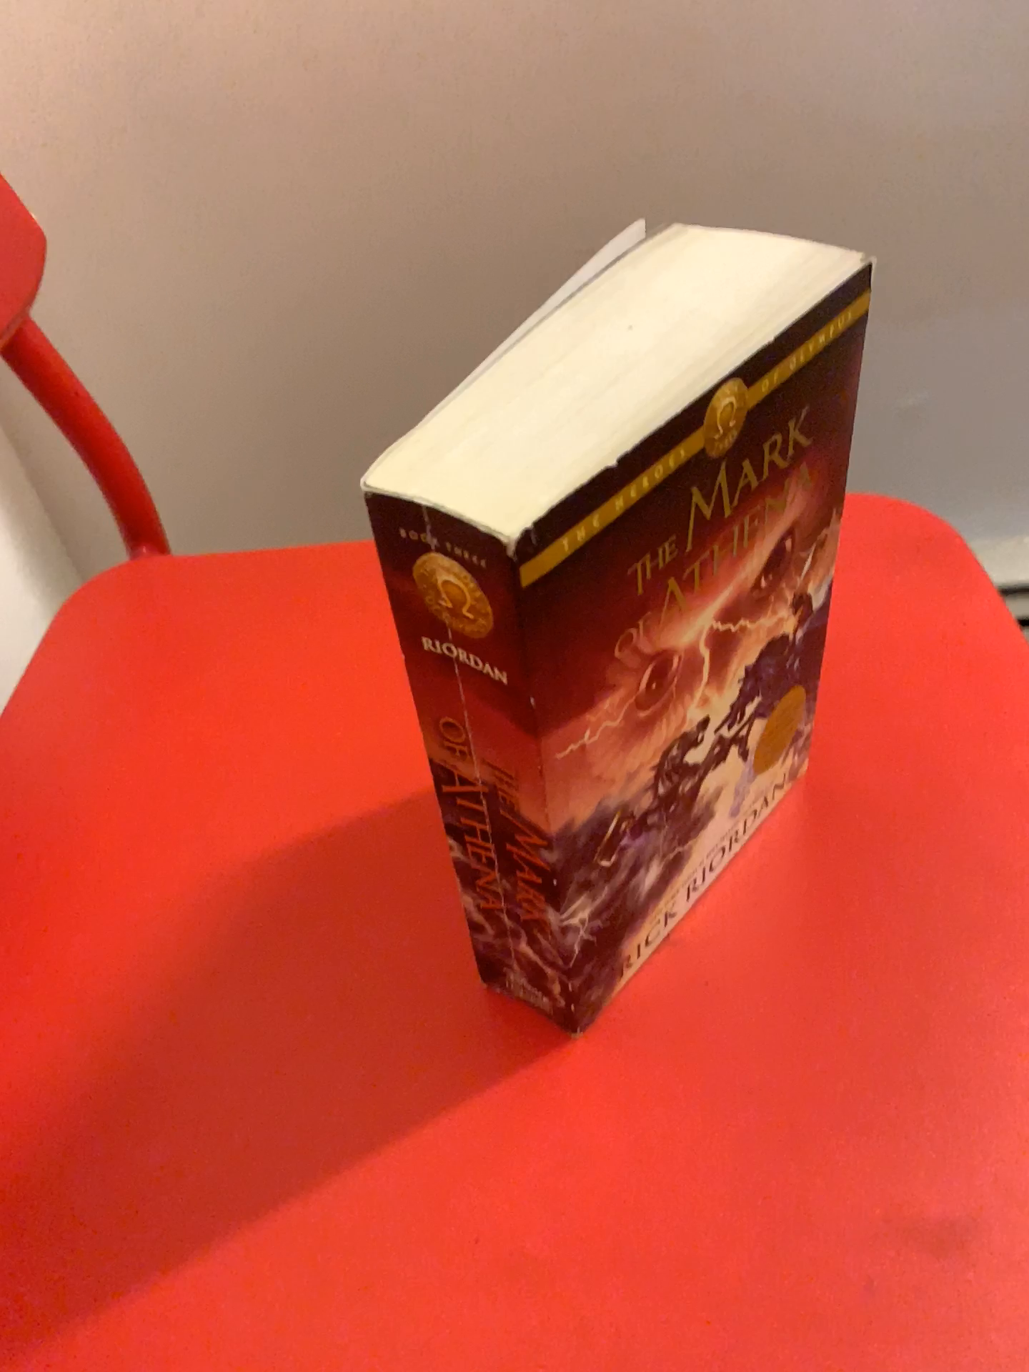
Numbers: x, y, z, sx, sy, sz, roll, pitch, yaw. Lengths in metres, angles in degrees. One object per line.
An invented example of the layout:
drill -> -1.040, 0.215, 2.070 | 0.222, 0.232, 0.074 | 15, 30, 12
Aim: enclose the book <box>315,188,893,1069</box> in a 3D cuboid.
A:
book -> 0.034, -0.010, 0.297 | 0.061, 0.193, 0.140 | 23, 52, 27
